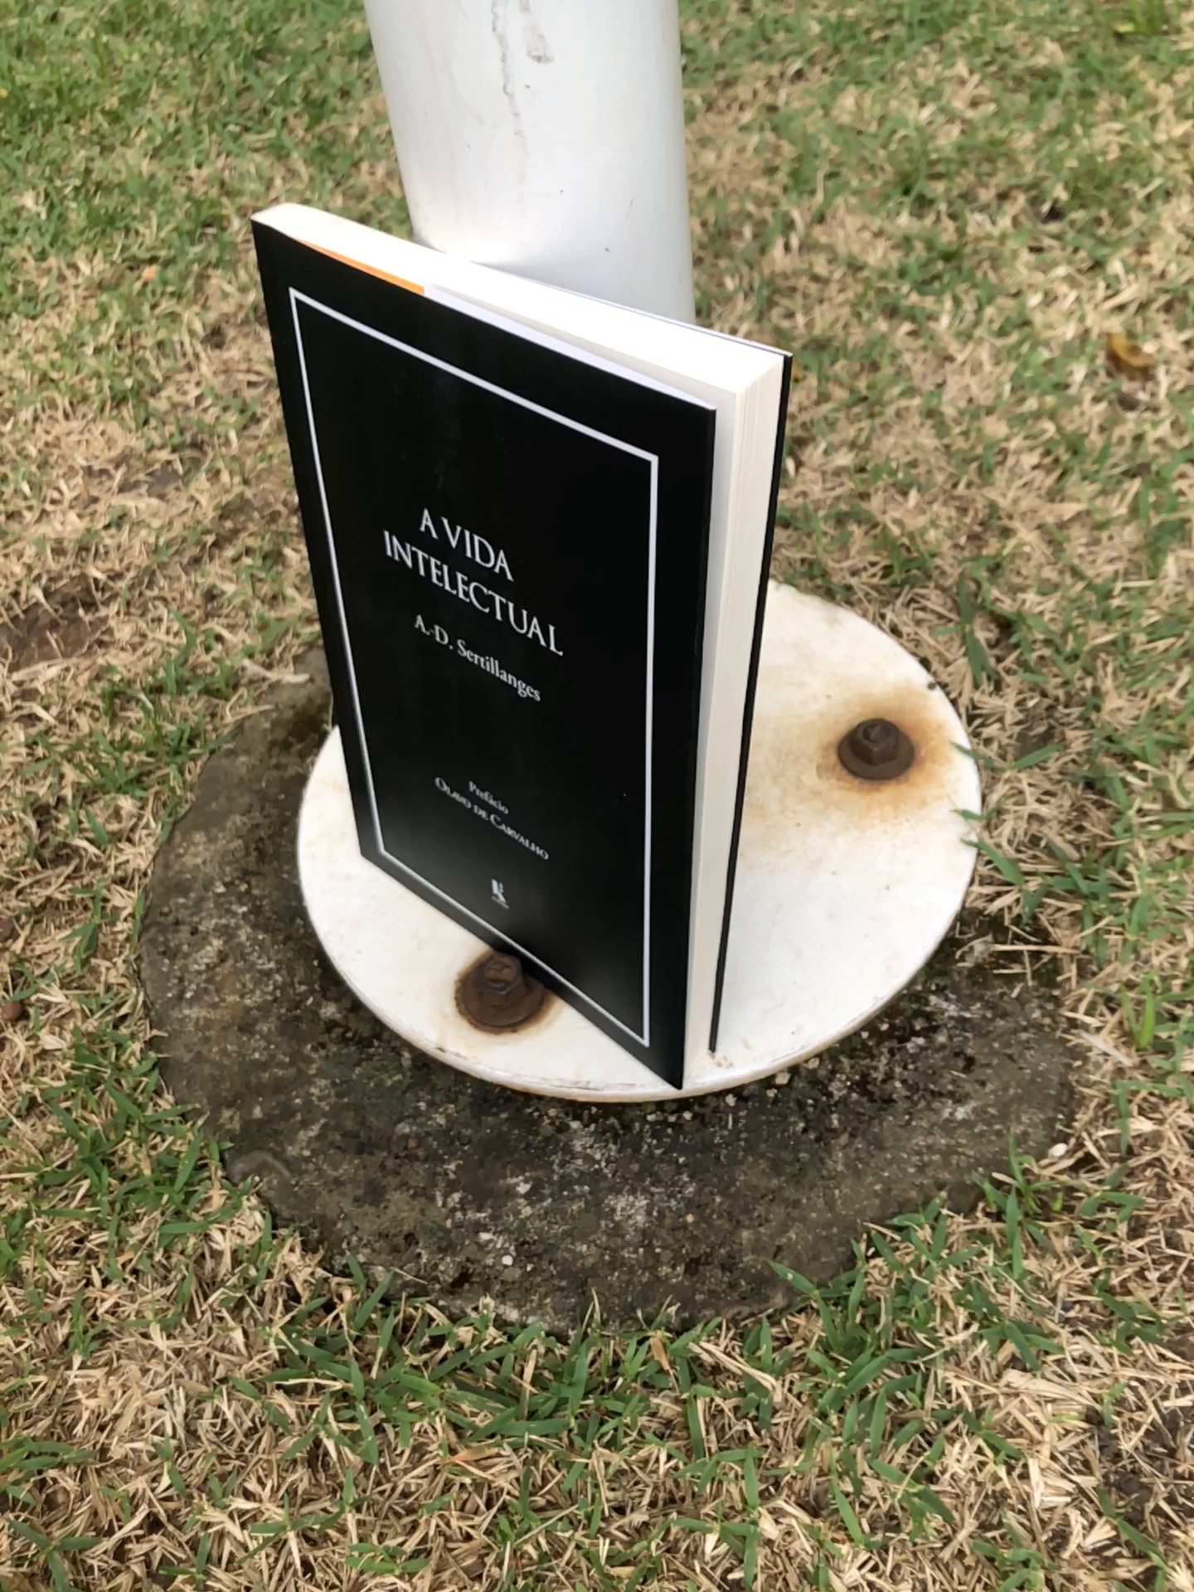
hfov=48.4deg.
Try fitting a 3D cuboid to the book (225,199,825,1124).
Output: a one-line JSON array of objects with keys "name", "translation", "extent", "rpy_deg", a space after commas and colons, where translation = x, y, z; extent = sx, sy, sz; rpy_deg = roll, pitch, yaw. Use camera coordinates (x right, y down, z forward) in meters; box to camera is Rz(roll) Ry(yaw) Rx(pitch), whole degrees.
[{"name": "book", "translation": [-0.020, -0.025, 0.322], "extent": [0.141, 0.193, 0.025], "rpy_deg": [32, 51, 31]}]
